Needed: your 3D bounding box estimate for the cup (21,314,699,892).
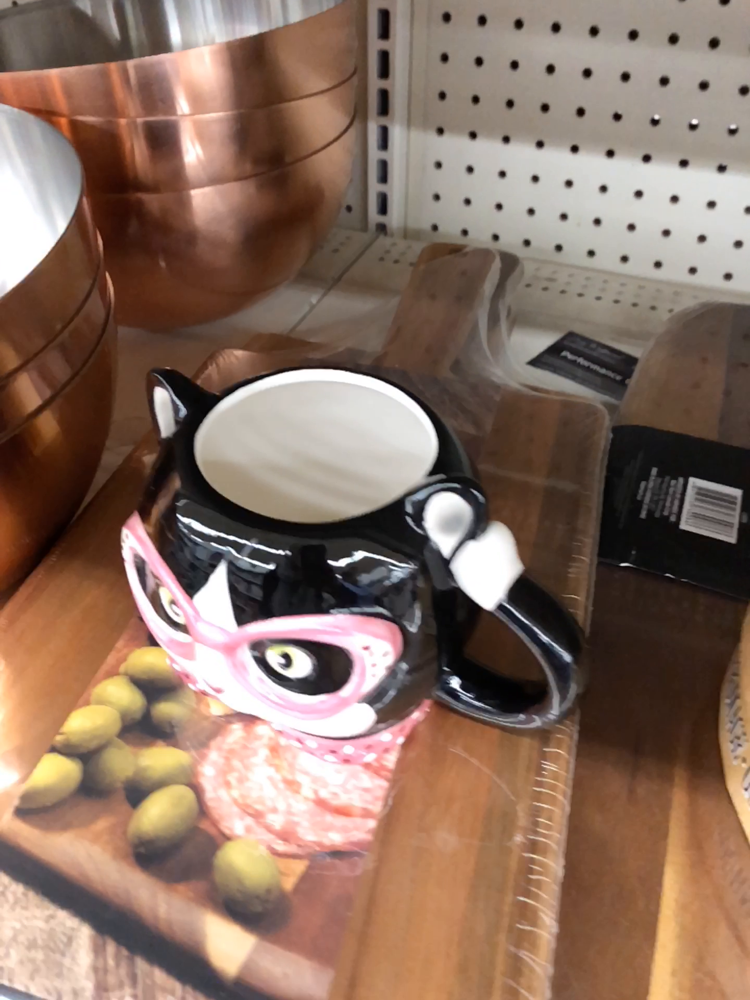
[{"bbox_3d":[-0.005,0.020,0.236,0.150,0.080,0.080,21,46,22],"label":"cup"}]
